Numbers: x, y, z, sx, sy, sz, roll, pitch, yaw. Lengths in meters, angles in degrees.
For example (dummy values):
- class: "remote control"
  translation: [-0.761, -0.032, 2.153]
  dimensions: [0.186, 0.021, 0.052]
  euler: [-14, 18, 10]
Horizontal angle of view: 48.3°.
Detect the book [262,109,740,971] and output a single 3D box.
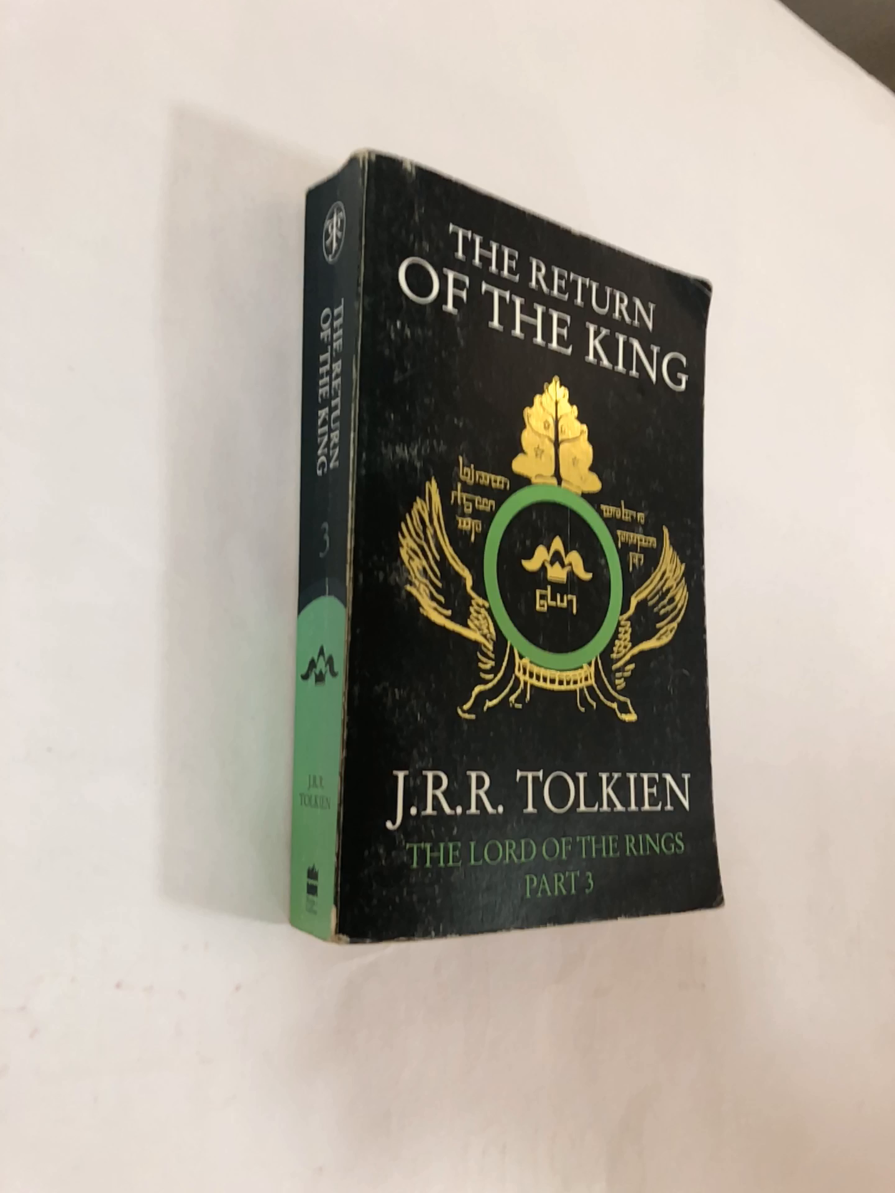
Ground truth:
- class: "book"
  translation: [0.020, -0.011, 0.280]
  dimensions: [0.131, 0.040, 0.200]
  euler: [7, 78, -36]
